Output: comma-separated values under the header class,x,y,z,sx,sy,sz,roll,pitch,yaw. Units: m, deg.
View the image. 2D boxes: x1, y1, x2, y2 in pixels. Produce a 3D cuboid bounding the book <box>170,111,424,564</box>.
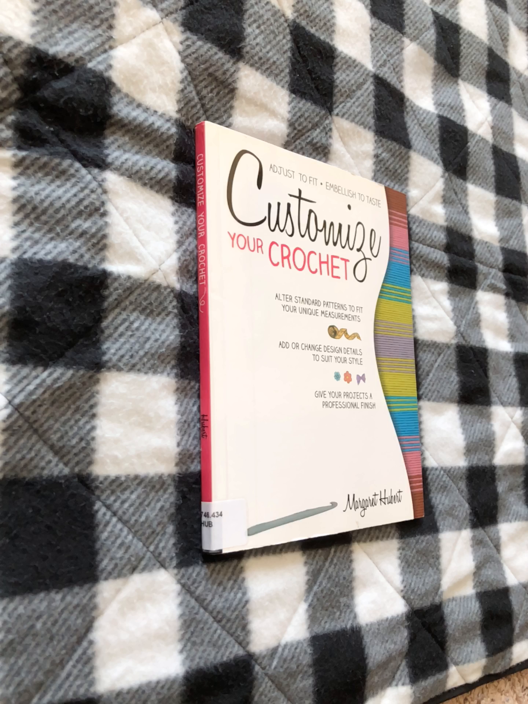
class,x,y,z,sx,sy,sz,roll,pitch,yaw
book,0.028,-0.006,0.370,0.187,0.020,0.238,5,80,-39
